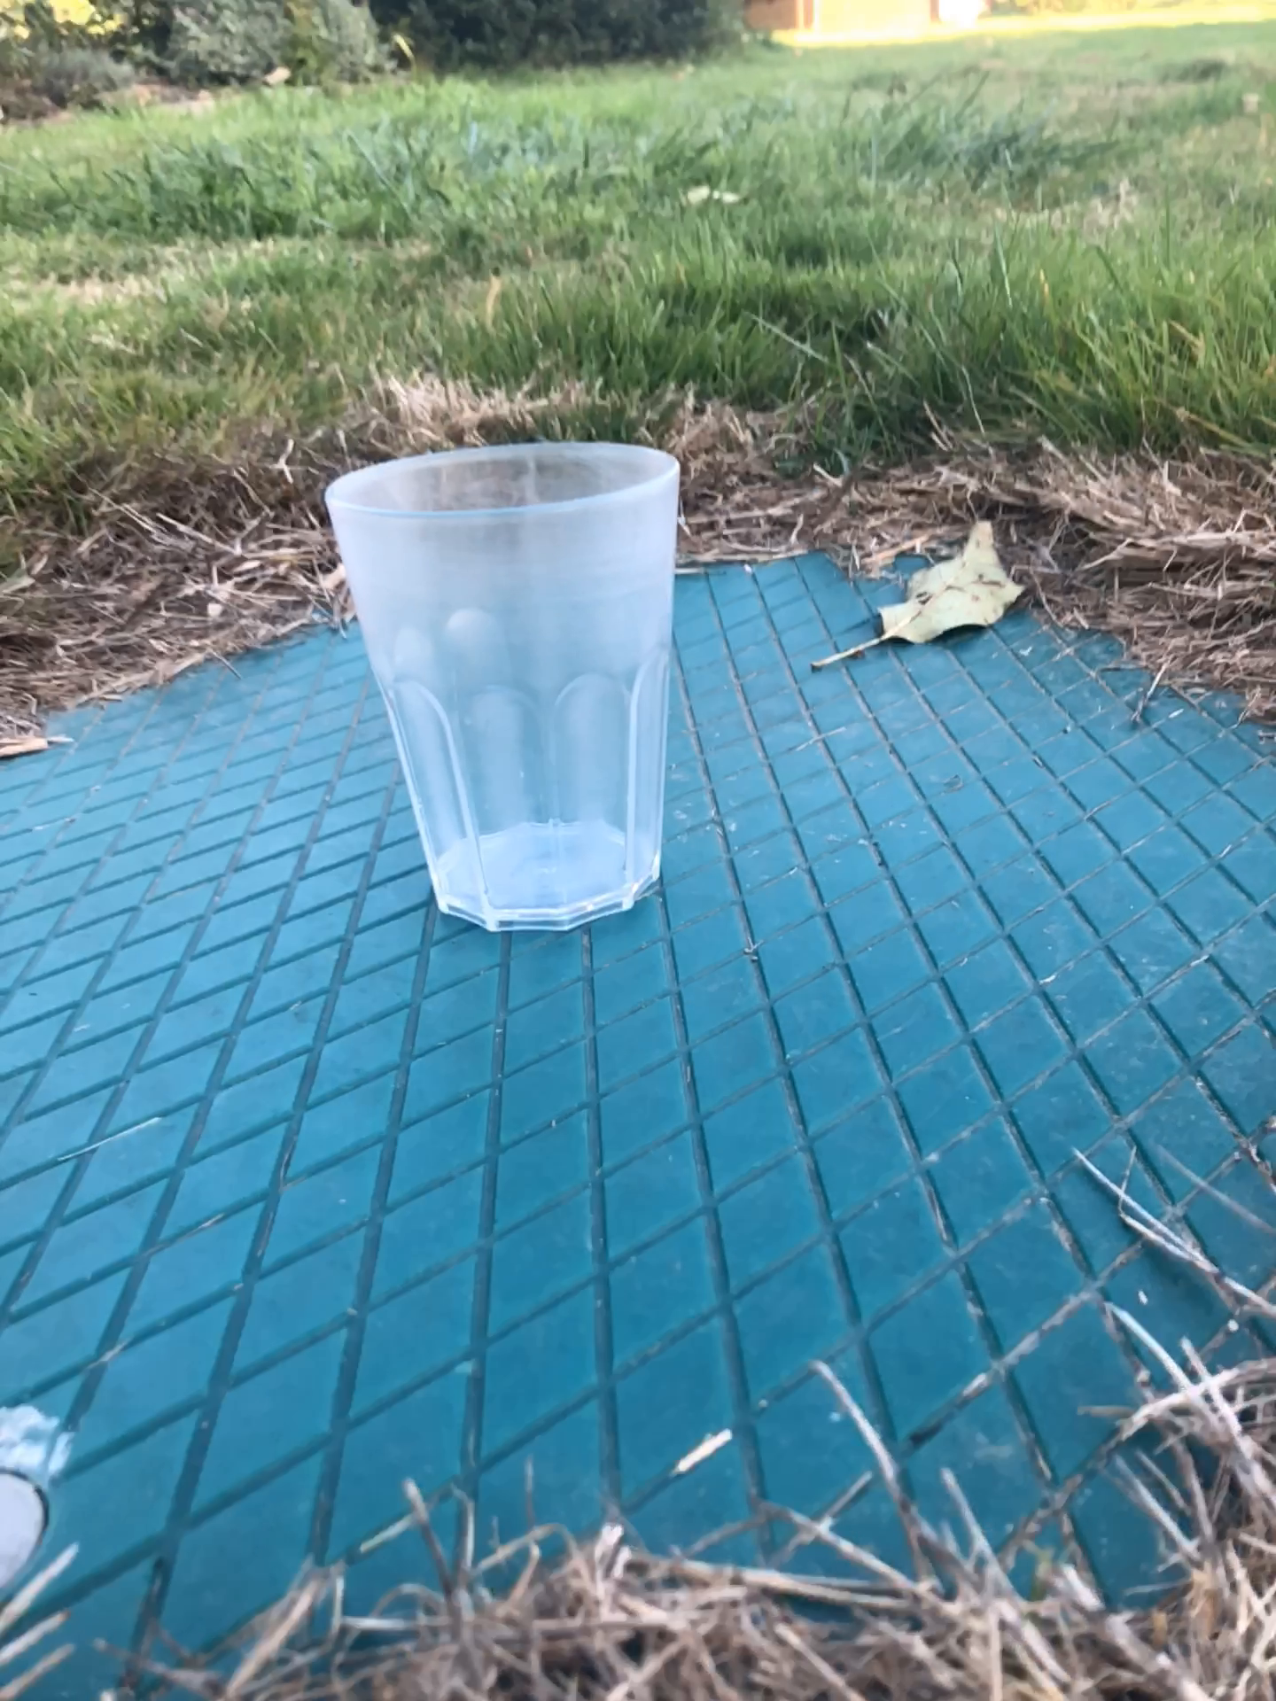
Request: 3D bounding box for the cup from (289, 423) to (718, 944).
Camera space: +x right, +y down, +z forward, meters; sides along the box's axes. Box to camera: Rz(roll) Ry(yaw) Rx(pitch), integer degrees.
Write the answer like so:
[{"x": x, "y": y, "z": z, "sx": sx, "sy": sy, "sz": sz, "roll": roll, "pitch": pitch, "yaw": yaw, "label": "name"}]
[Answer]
[{"x": -0.027, "y": -0.048, "z": 0.381, "sx": 0.091, "sy": 0.113, "sz": 0.088, "roll": -5, "pitch": 25, "yaw": 2, "label": "cup"}]
